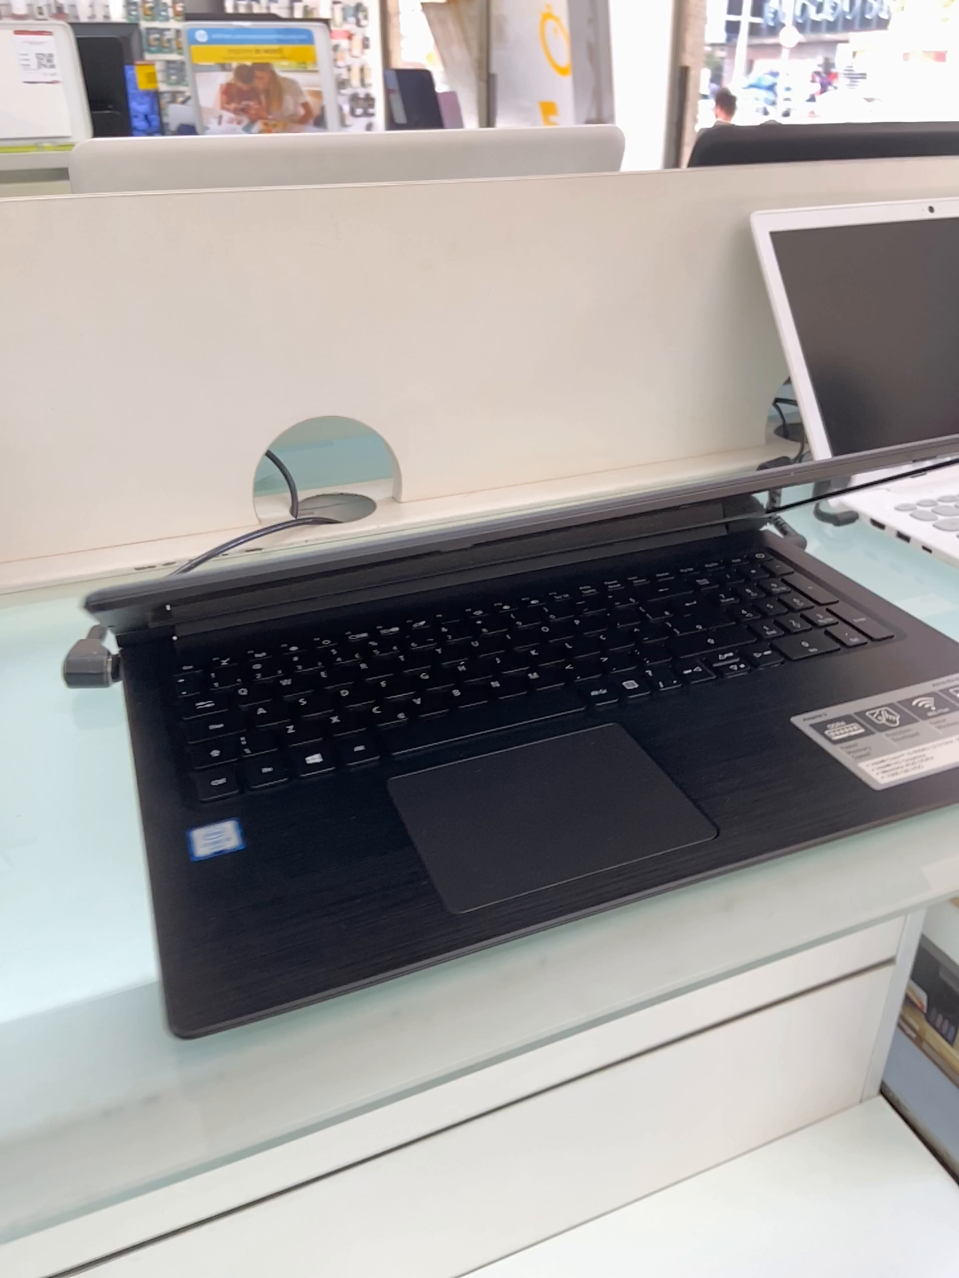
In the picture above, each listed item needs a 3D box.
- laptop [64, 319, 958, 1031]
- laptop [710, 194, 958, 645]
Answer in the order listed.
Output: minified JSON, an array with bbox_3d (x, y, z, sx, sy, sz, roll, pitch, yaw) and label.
[{"bbox_3d":[0.040,-0.031,0.417,0.379,0.123,0.240,-12,31,-18],"label":"laptop"},{"bbox_3d":[0.419,-0.183,0.645,0.381,0.165,0.352,-11,31,-22],"label":"laptop"}]
